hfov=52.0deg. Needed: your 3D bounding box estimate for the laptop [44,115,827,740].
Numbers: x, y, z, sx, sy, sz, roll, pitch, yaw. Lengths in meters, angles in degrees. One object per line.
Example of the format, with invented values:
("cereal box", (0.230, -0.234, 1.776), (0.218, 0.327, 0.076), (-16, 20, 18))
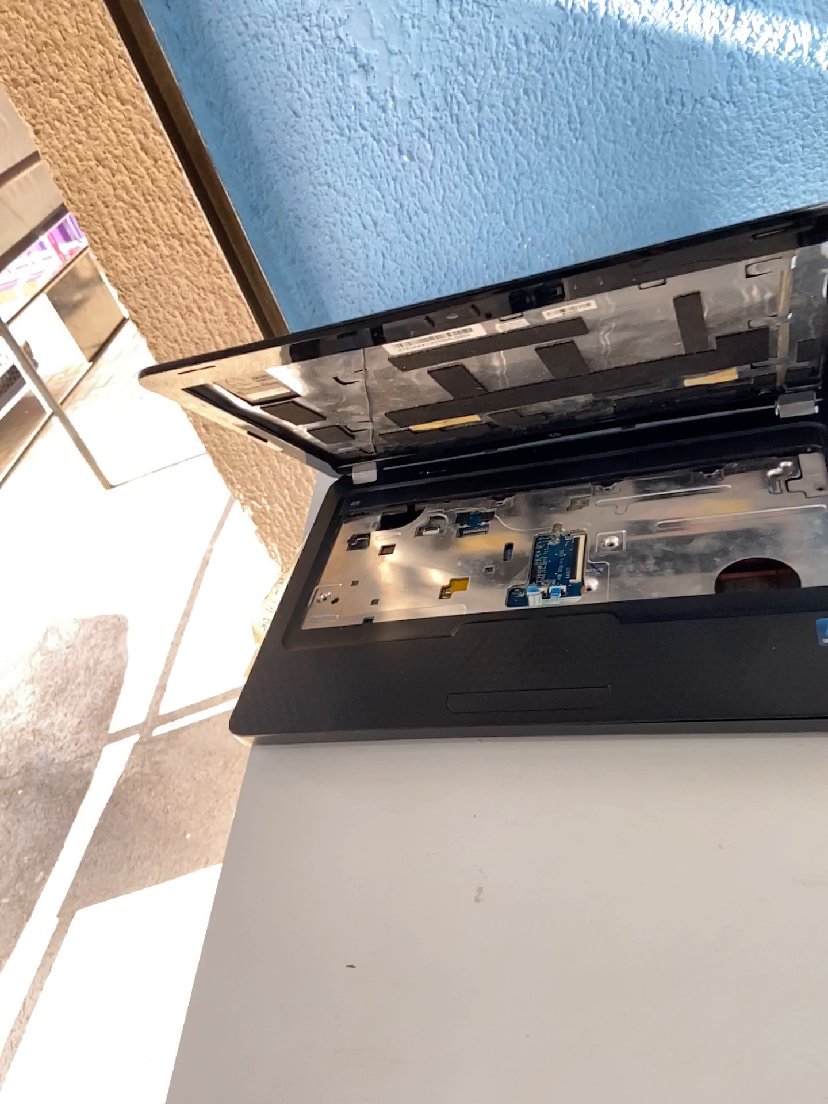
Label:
("laptop", (0.043, -0.053, 0.422), (0.327, 0.153, 0.223), (-7, 39, 22))
